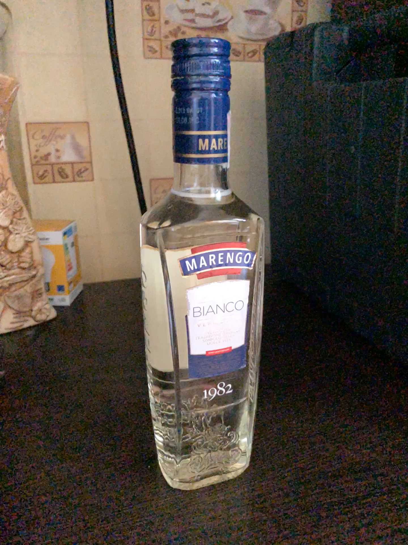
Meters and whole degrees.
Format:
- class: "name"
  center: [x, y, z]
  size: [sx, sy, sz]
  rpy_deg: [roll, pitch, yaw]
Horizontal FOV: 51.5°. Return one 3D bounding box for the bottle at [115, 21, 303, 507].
- class: "bottle"
  center: [0.001, 0.010, 0.275]
  size: [0.090, 0.289, 0.050]
  rpy_deg: [-6, 20, -17]
